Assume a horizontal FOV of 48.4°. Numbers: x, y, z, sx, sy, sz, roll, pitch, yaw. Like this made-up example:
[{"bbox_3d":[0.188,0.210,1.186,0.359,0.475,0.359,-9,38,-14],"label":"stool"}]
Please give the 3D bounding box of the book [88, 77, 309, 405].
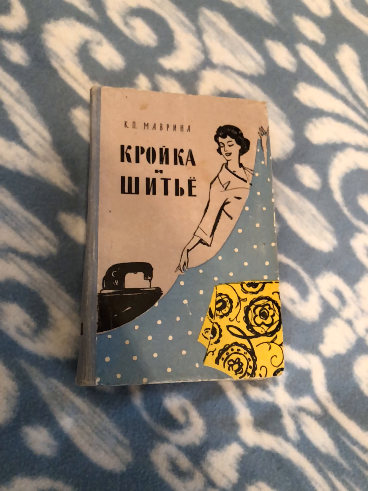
[{"bbox_3d":[0.010,-0.006,0.314,0.152,0.037,0.231,2,79,-10],"label":"book"}]
